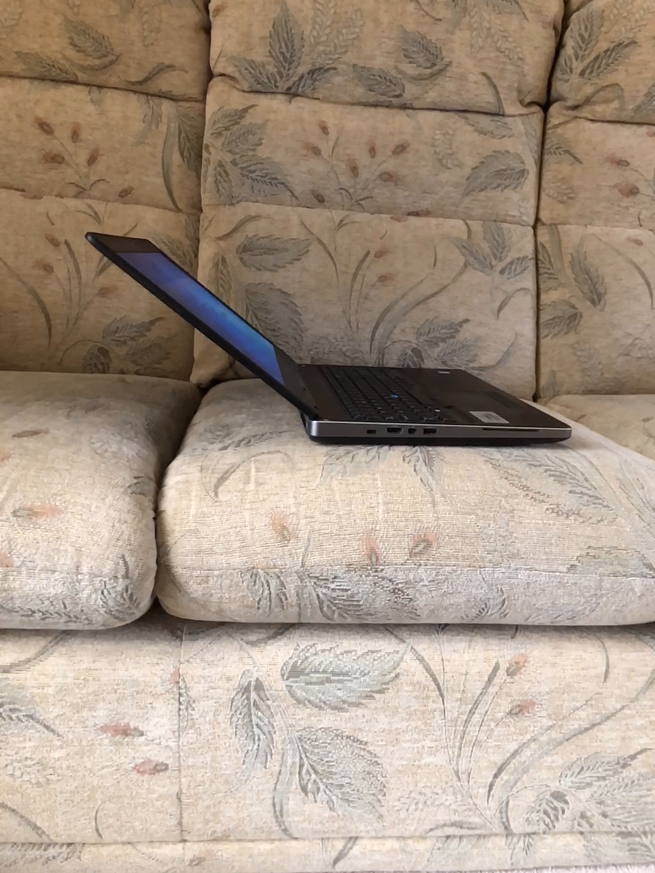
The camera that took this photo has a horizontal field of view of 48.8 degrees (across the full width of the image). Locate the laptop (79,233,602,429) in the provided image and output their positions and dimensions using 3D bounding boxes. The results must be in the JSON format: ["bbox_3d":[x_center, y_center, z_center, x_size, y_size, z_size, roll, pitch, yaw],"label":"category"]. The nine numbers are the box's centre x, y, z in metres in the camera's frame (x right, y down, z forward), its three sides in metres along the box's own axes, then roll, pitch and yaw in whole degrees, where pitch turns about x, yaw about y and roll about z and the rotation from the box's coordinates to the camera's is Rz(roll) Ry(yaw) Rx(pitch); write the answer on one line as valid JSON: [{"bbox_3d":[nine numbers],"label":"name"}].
[{"bbox_3d":[-0.004,-0.134,0.819,0.451,0.157,0.356,2,16,-6],"label":"laptop"}]
